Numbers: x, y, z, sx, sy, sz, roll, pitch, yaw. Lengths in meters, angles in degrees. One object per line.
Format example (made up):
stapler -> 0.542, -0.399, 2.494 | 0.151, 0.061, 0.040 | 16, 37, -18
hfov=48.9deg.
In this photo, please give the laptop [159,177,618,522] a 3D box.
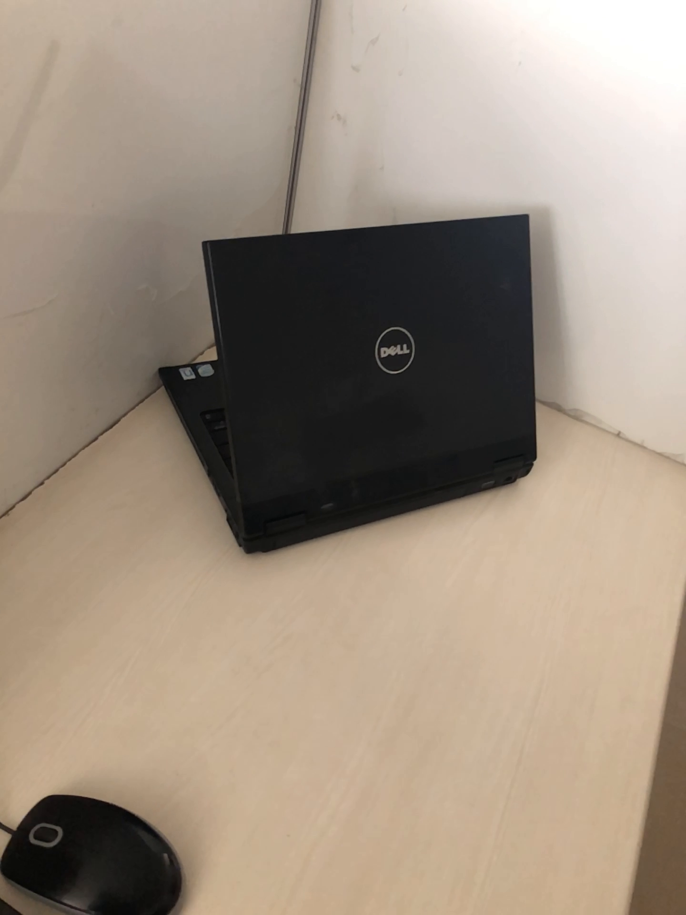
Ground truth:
laptop -> 0.019, -0.115, 0.680 | 0.304, 0.190, 0.230 | -12, 46, -26
